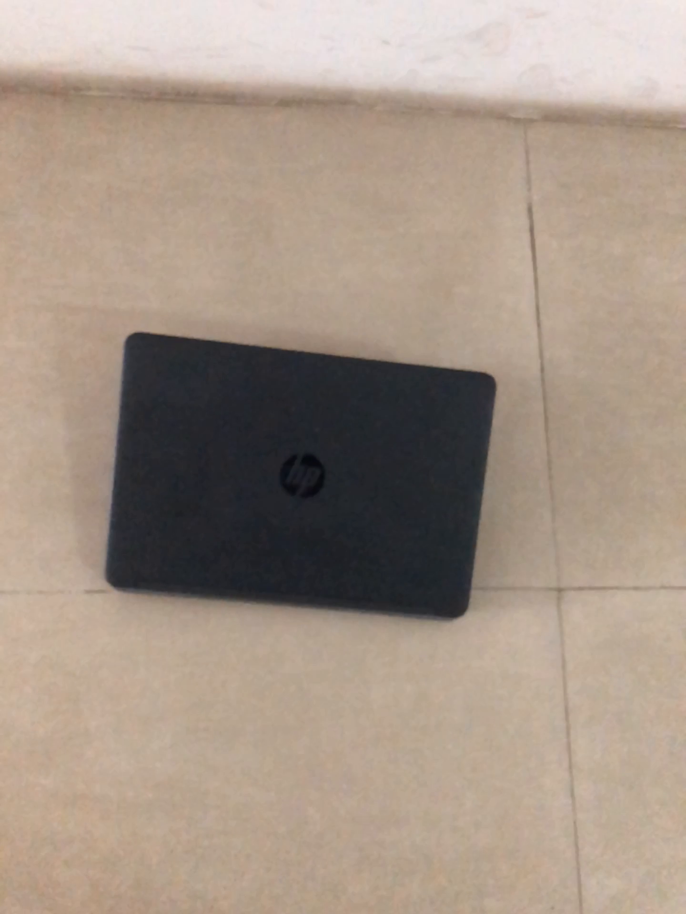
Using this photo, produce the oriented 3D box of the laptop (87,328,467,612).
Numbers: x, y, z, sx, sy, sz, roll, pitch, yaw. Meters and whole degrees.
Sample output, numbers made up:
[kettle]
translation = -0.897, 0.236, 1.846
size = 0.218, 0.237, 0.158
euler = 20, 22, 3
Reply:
[laptop]
translation = -0.053, 0.018, 0.697
size = 0.304, 0.085, 0.214
euler = 6, 80, -4
